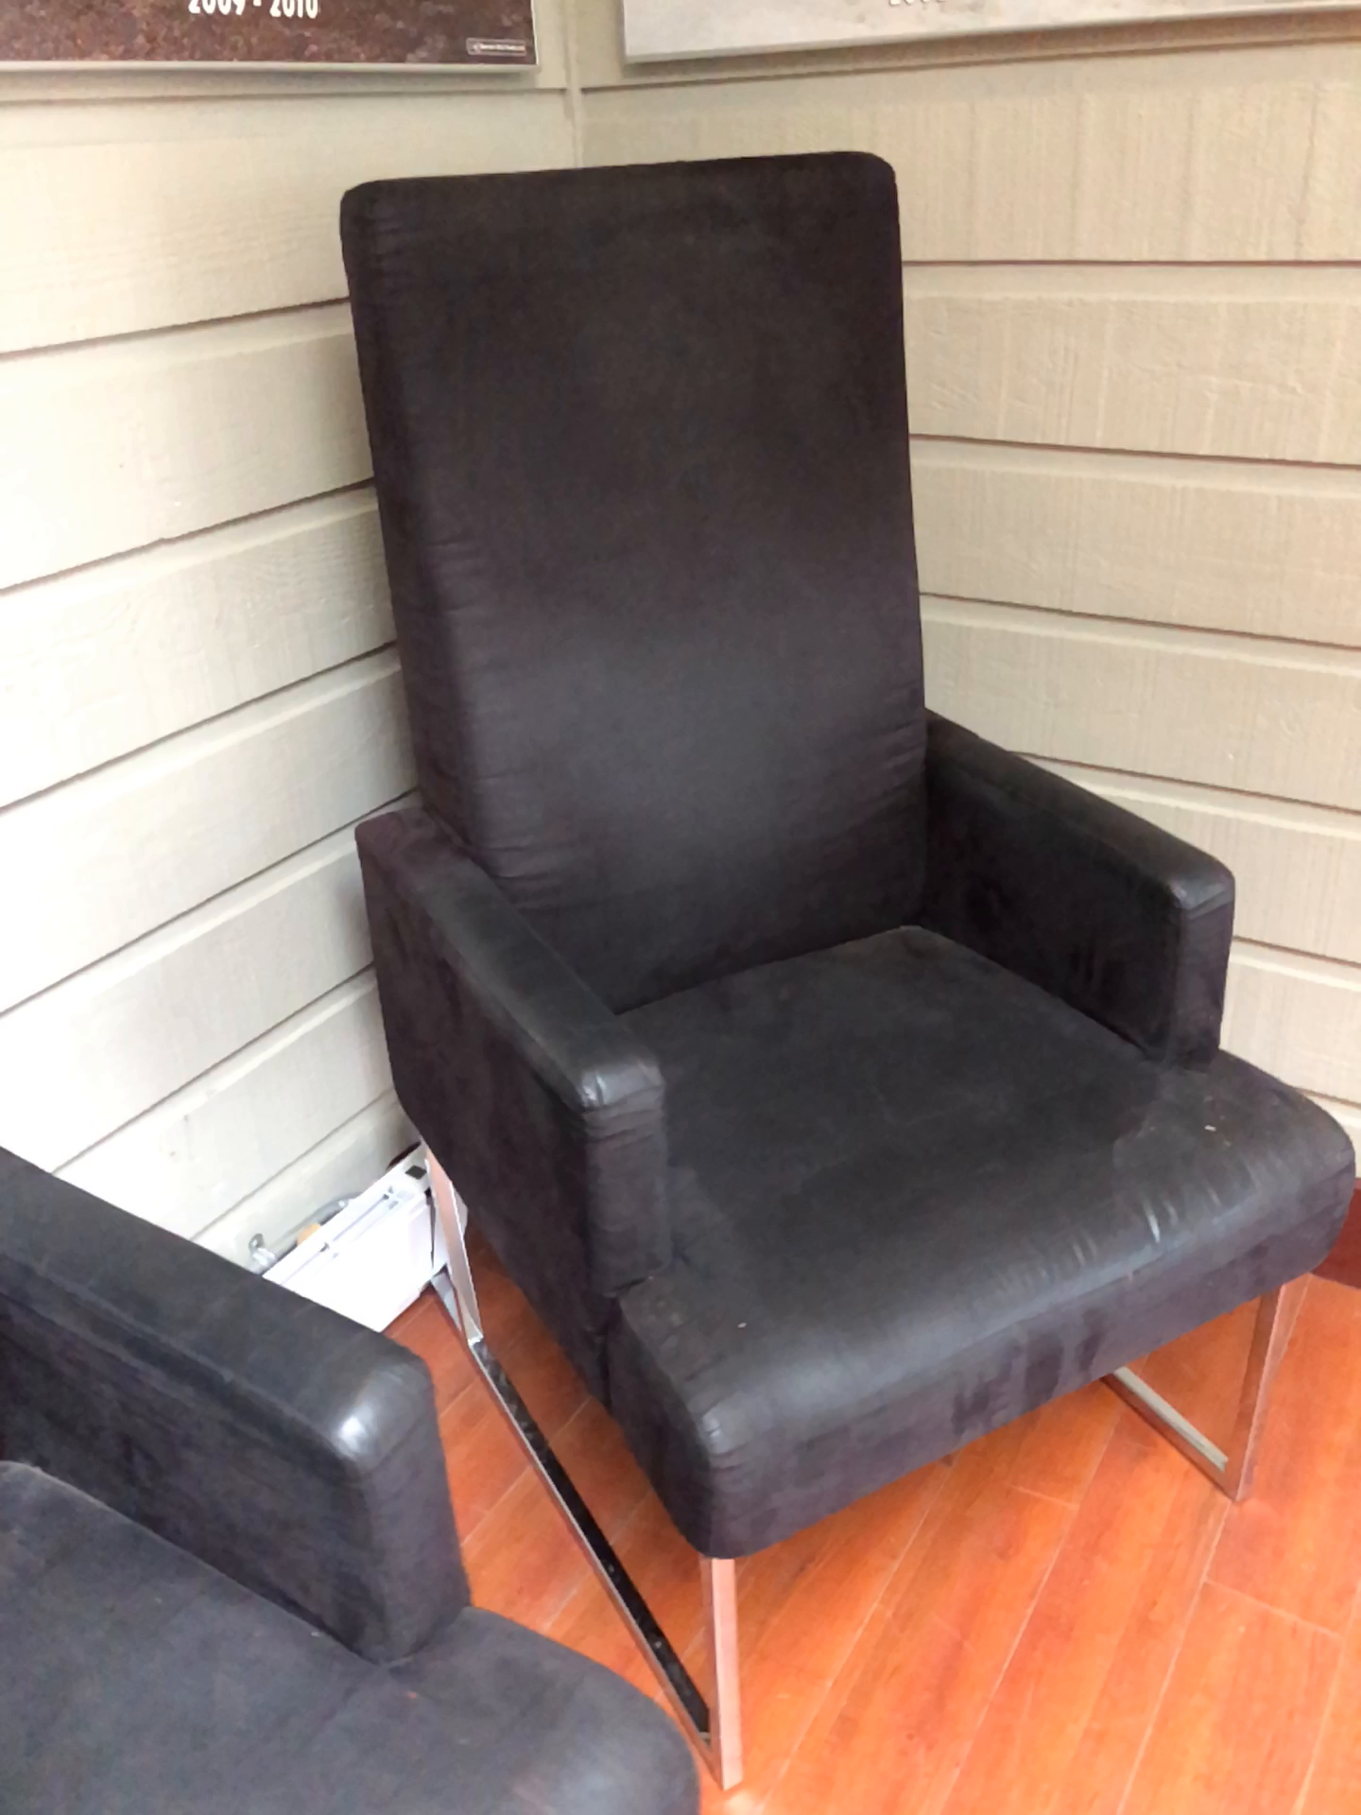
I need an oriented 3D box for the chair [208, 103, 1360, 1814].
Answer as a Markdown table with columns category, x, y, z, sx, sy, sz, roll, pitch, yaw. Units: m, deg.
| category | x | y | z | sx | sy | sz | roll | pitch | yaw |
| --- | --- | --- | --- | --- | --- | --- | --- | --- | --- |
| chair | 0.110 | -0.027 | 1.228 | 0.631 | 1.083 | 0.704 | -16 | 30 | -24 |
